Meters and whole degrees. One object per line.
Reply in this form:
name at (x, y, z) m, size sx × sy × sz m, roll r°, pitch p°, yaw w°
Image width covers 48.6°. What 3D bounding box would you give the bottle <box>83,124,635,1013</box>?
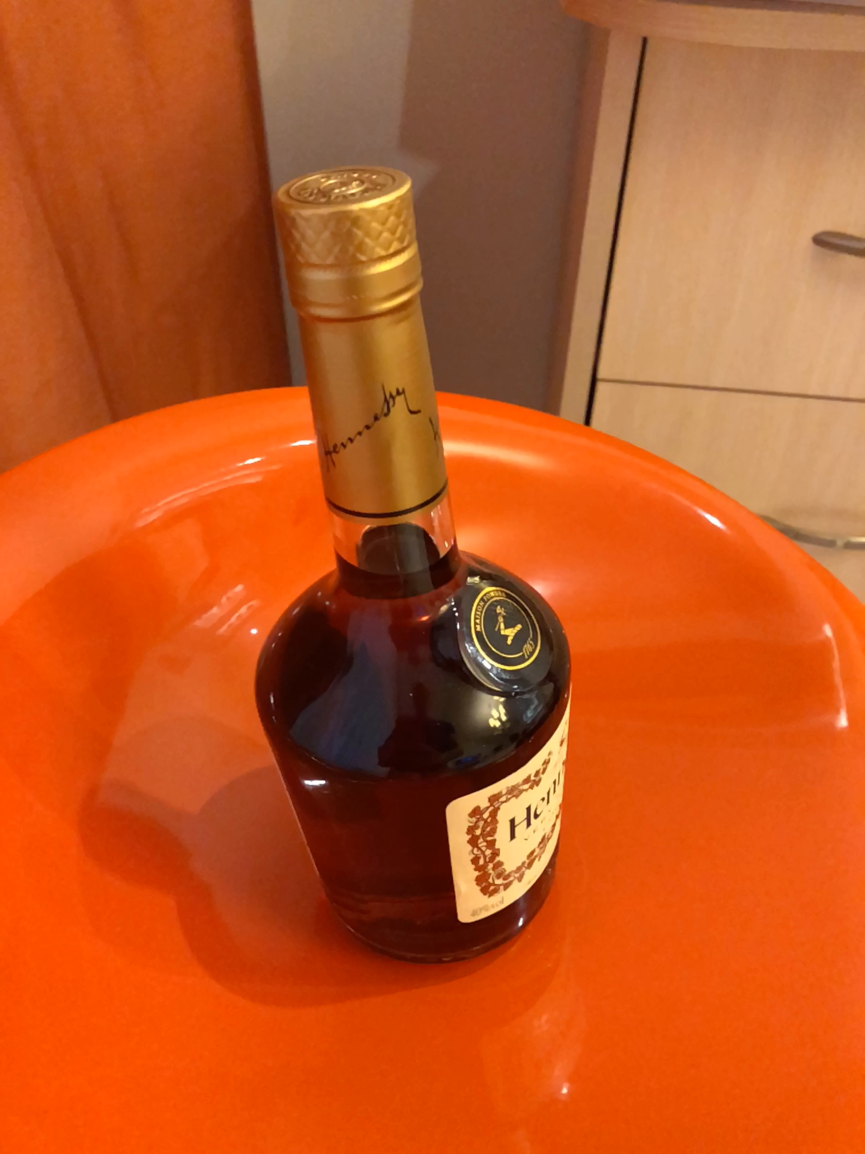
bottle at (-0.005, 0.009, 0.257) m, size 0.079 × 0.218 × 0.079 m, roll -3°, pitch 38°, yaw 2°
